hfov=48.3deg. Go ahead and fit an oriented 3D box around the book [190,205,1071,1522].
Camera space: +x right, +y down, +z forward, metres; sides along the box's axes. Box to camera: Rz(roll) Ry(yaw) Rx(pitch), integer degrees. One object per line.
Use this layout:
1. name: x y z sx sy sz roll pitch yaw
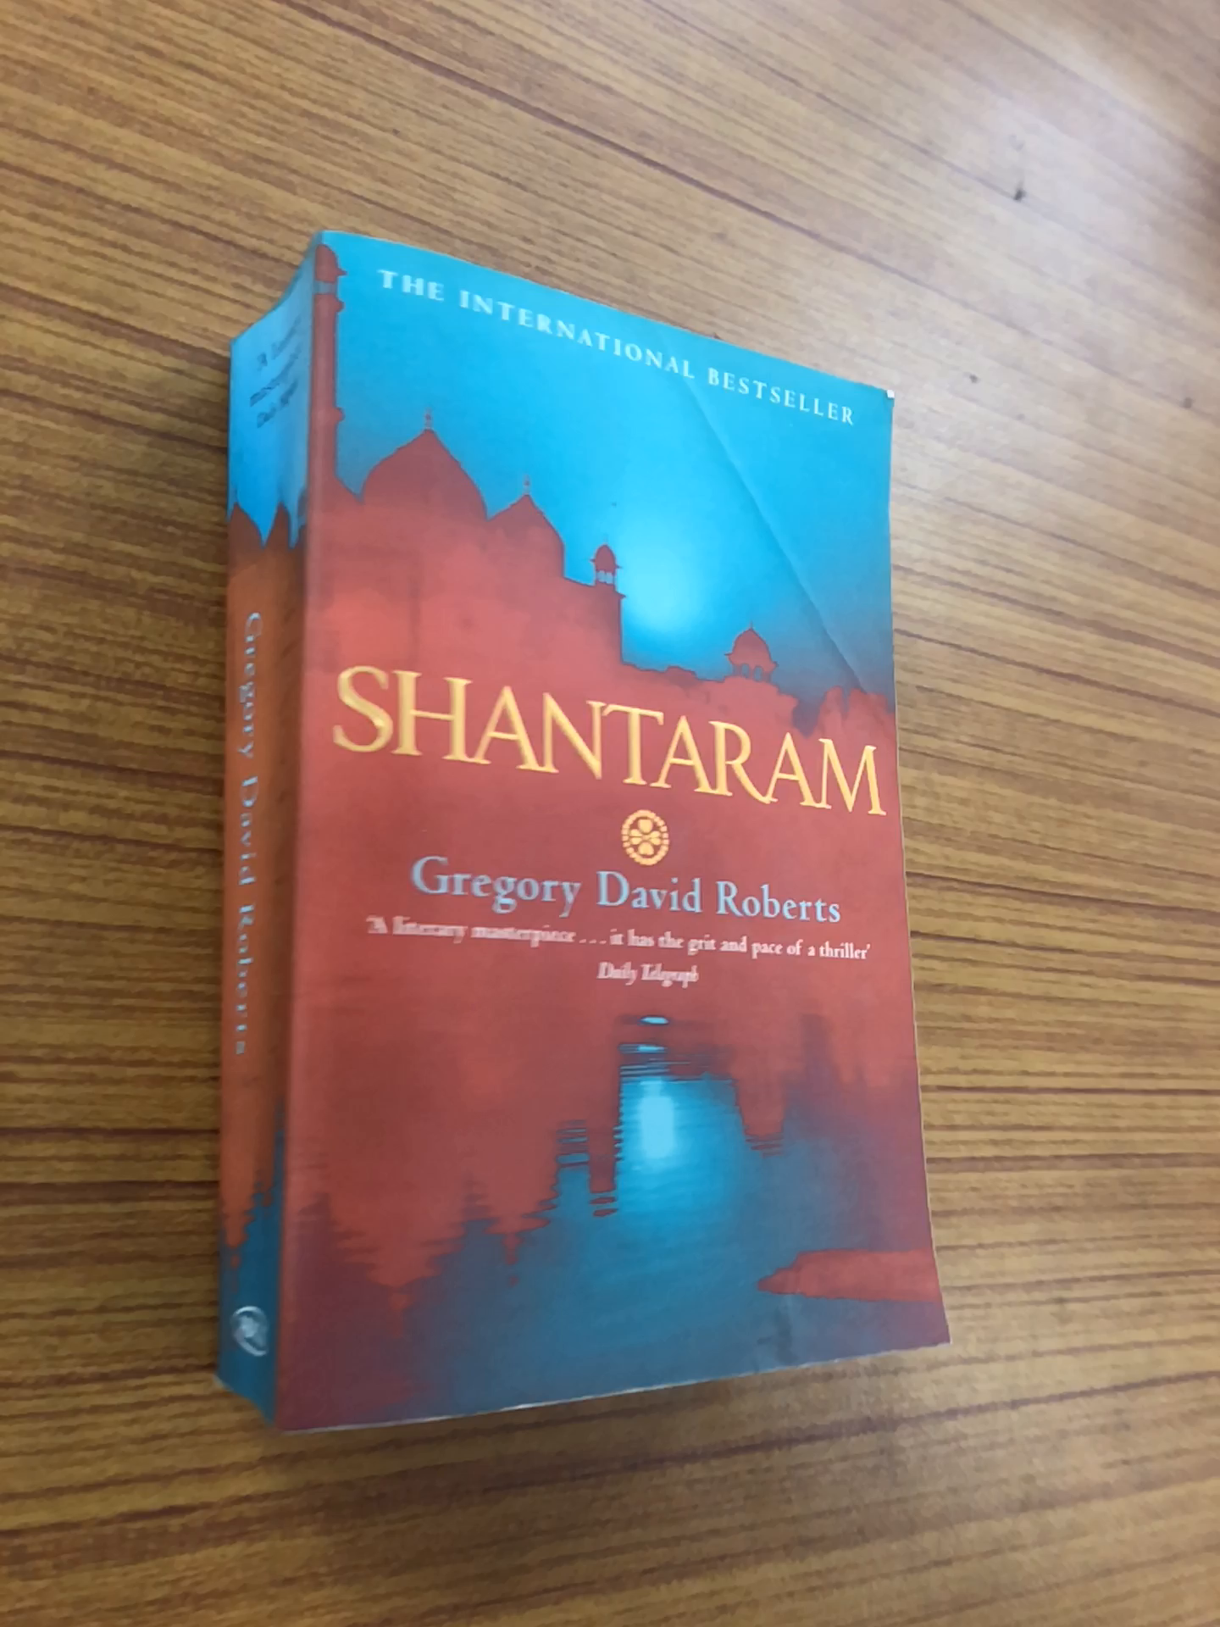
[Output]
1. book: 0.007 0.009 0.255 0.150 0.050 0.190 5 77 -32
